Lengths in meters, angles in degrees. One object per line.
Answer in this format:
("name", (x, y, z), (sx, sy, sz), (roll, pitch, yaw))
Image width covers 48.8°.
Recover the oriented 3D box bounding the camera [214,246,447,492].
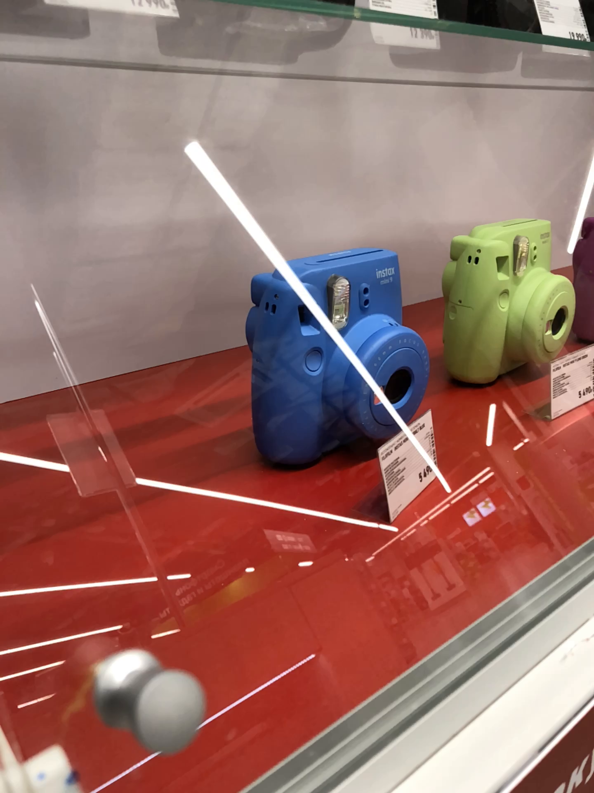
("camera", (0.022, -0.025, 0.396), (0.070, 0.109, 0.123), (20, 29, 41))
